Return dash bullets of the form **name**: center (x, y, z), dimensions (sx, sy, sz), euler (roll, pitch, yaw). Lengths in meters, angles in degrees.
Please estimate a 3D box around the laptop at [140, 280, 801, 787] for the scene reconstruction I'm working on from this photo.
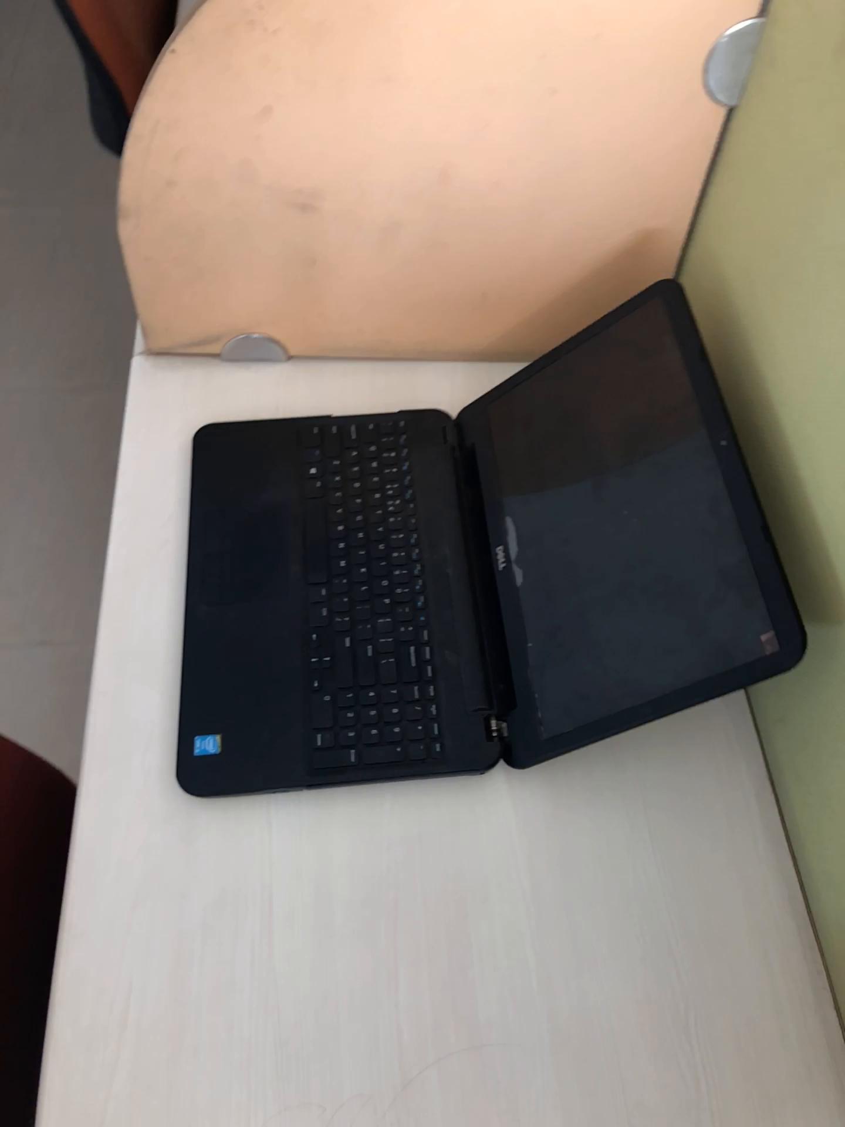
- **laptop**: center (0.016, -0.035, 0.756), dimensions (0.424, 0.165, 0.358), euler (-3, 58, -4)
